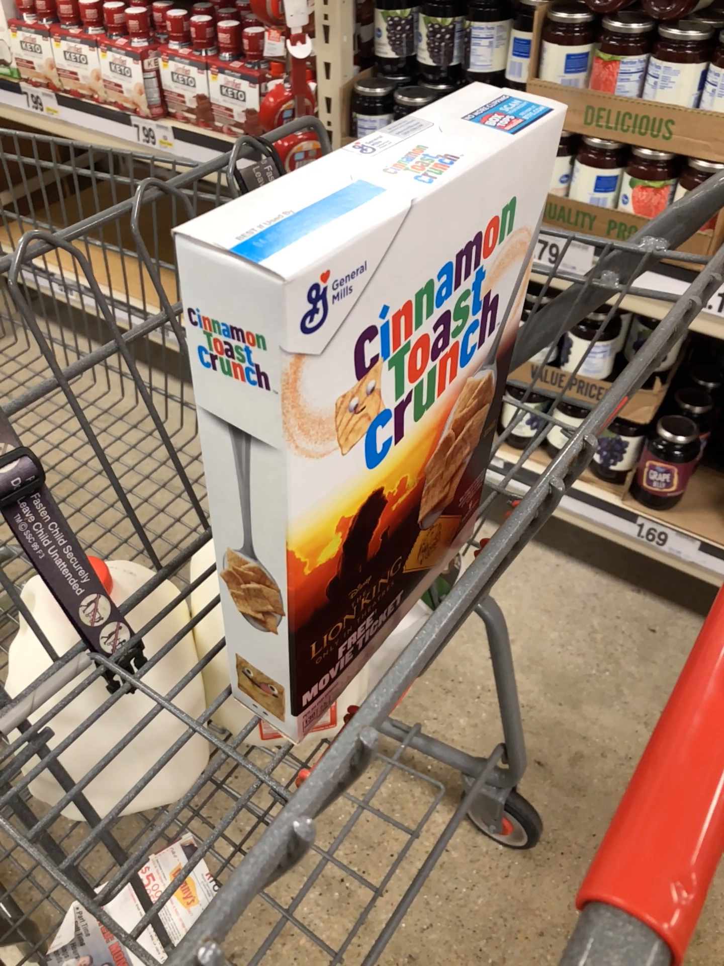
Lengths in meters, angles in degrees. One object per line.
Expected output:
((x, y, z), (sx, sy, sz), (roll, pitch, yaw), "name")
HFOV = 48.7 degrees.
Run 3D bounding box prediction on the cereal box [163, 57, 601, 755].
((0.012, -0.022, 0.413), (0.050, 0.309, 0.210), (31, 51, 23), "cereal box")
